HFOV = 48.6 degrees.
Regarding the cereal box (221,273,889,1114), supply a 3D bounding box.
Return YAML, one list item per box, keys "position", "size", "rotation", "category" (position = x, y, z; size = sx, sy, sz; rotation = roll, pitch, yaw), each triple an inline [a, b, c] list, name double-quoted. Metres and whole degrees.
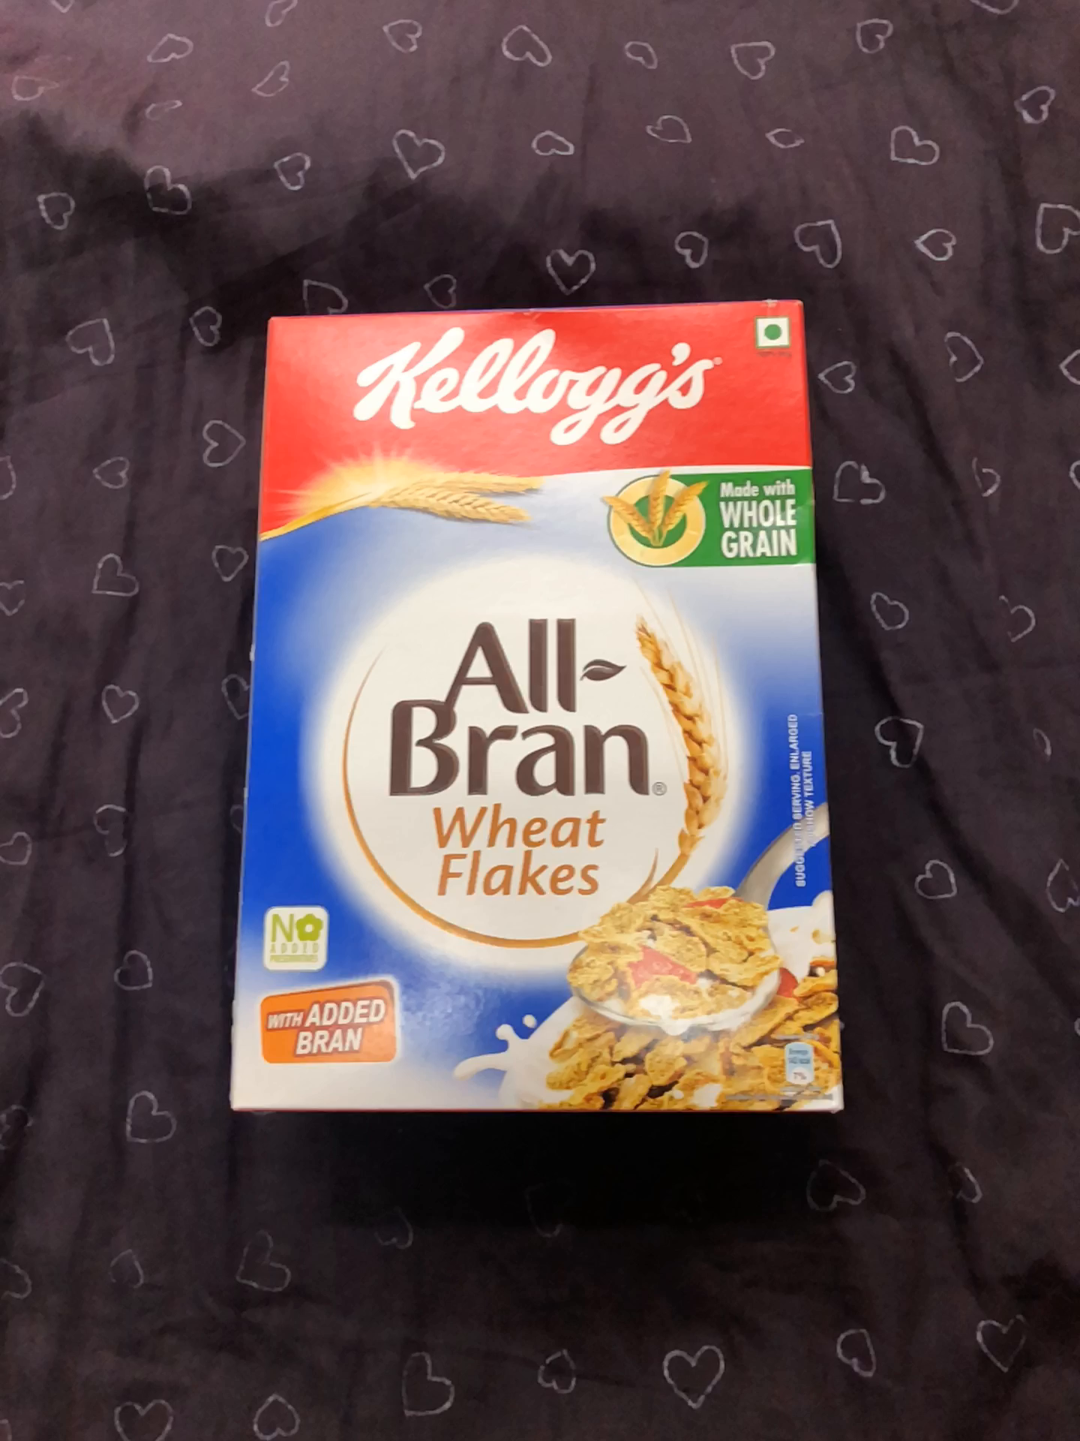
- position: [0.005, -0.010, 0.400]
  size: [0.190, 0.070, 0.260]
  rotation: [-1, 78, 3]
  category: "cereal box"
